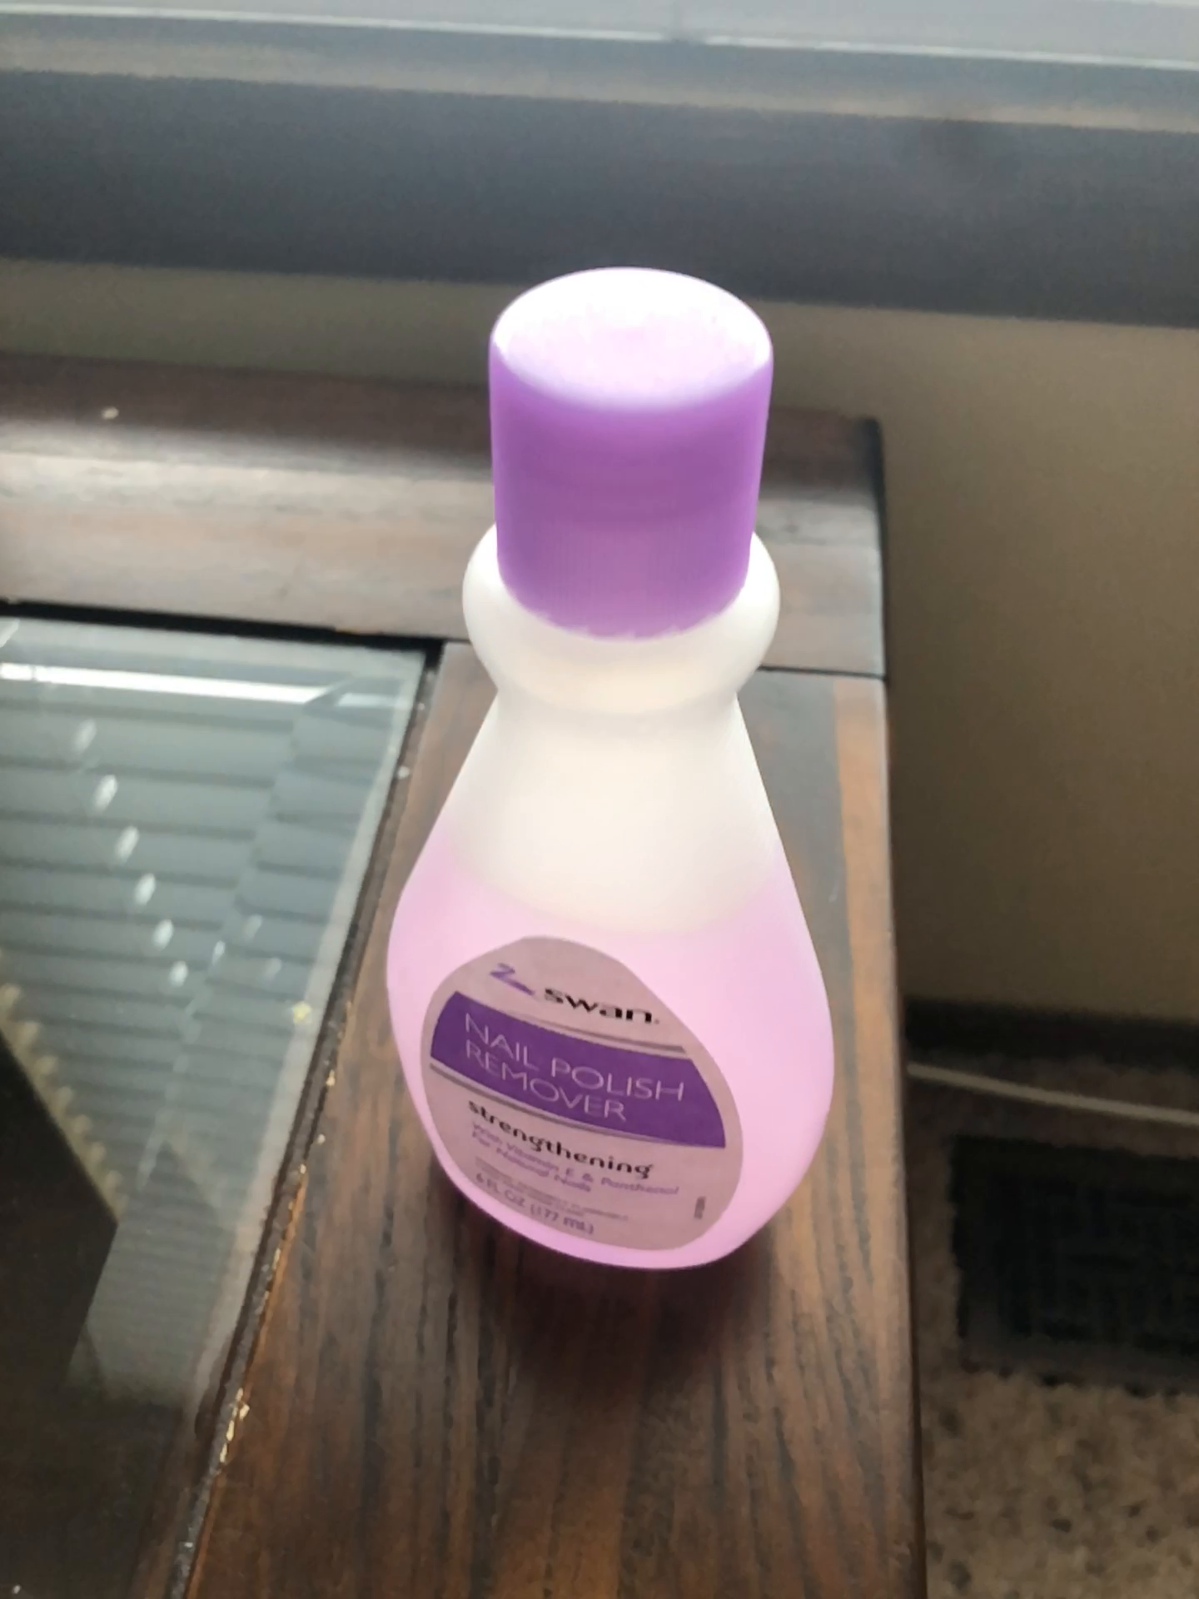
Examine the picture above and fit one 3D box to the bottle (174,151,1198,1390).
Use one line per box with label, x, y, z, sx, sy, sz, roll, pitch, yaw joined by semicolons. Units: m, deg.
bottle;0.010;0.014;0.184;0.080;0.170;0.050;16;51;13
